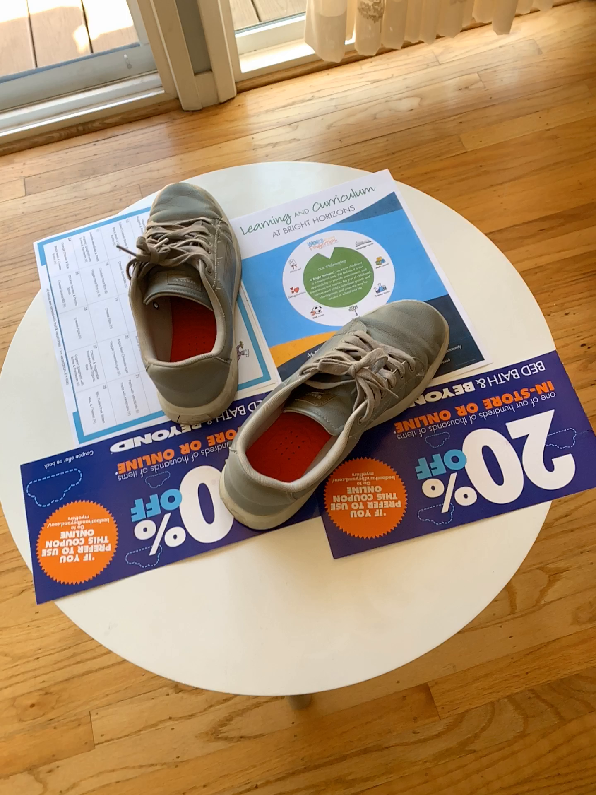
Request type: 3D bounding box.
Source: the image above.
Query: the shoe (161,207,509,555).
[{"bbox_3d":[0.037,-0.014,0.517,0.100,0.110,0.280,41,76,20],"label":"shoe"}]

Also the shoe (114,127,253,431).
[{"bbox_3d":[-0.112,-0.118,0.594,0.100,0.100,0.270,-8,66,1],"label":"shoe"}]
